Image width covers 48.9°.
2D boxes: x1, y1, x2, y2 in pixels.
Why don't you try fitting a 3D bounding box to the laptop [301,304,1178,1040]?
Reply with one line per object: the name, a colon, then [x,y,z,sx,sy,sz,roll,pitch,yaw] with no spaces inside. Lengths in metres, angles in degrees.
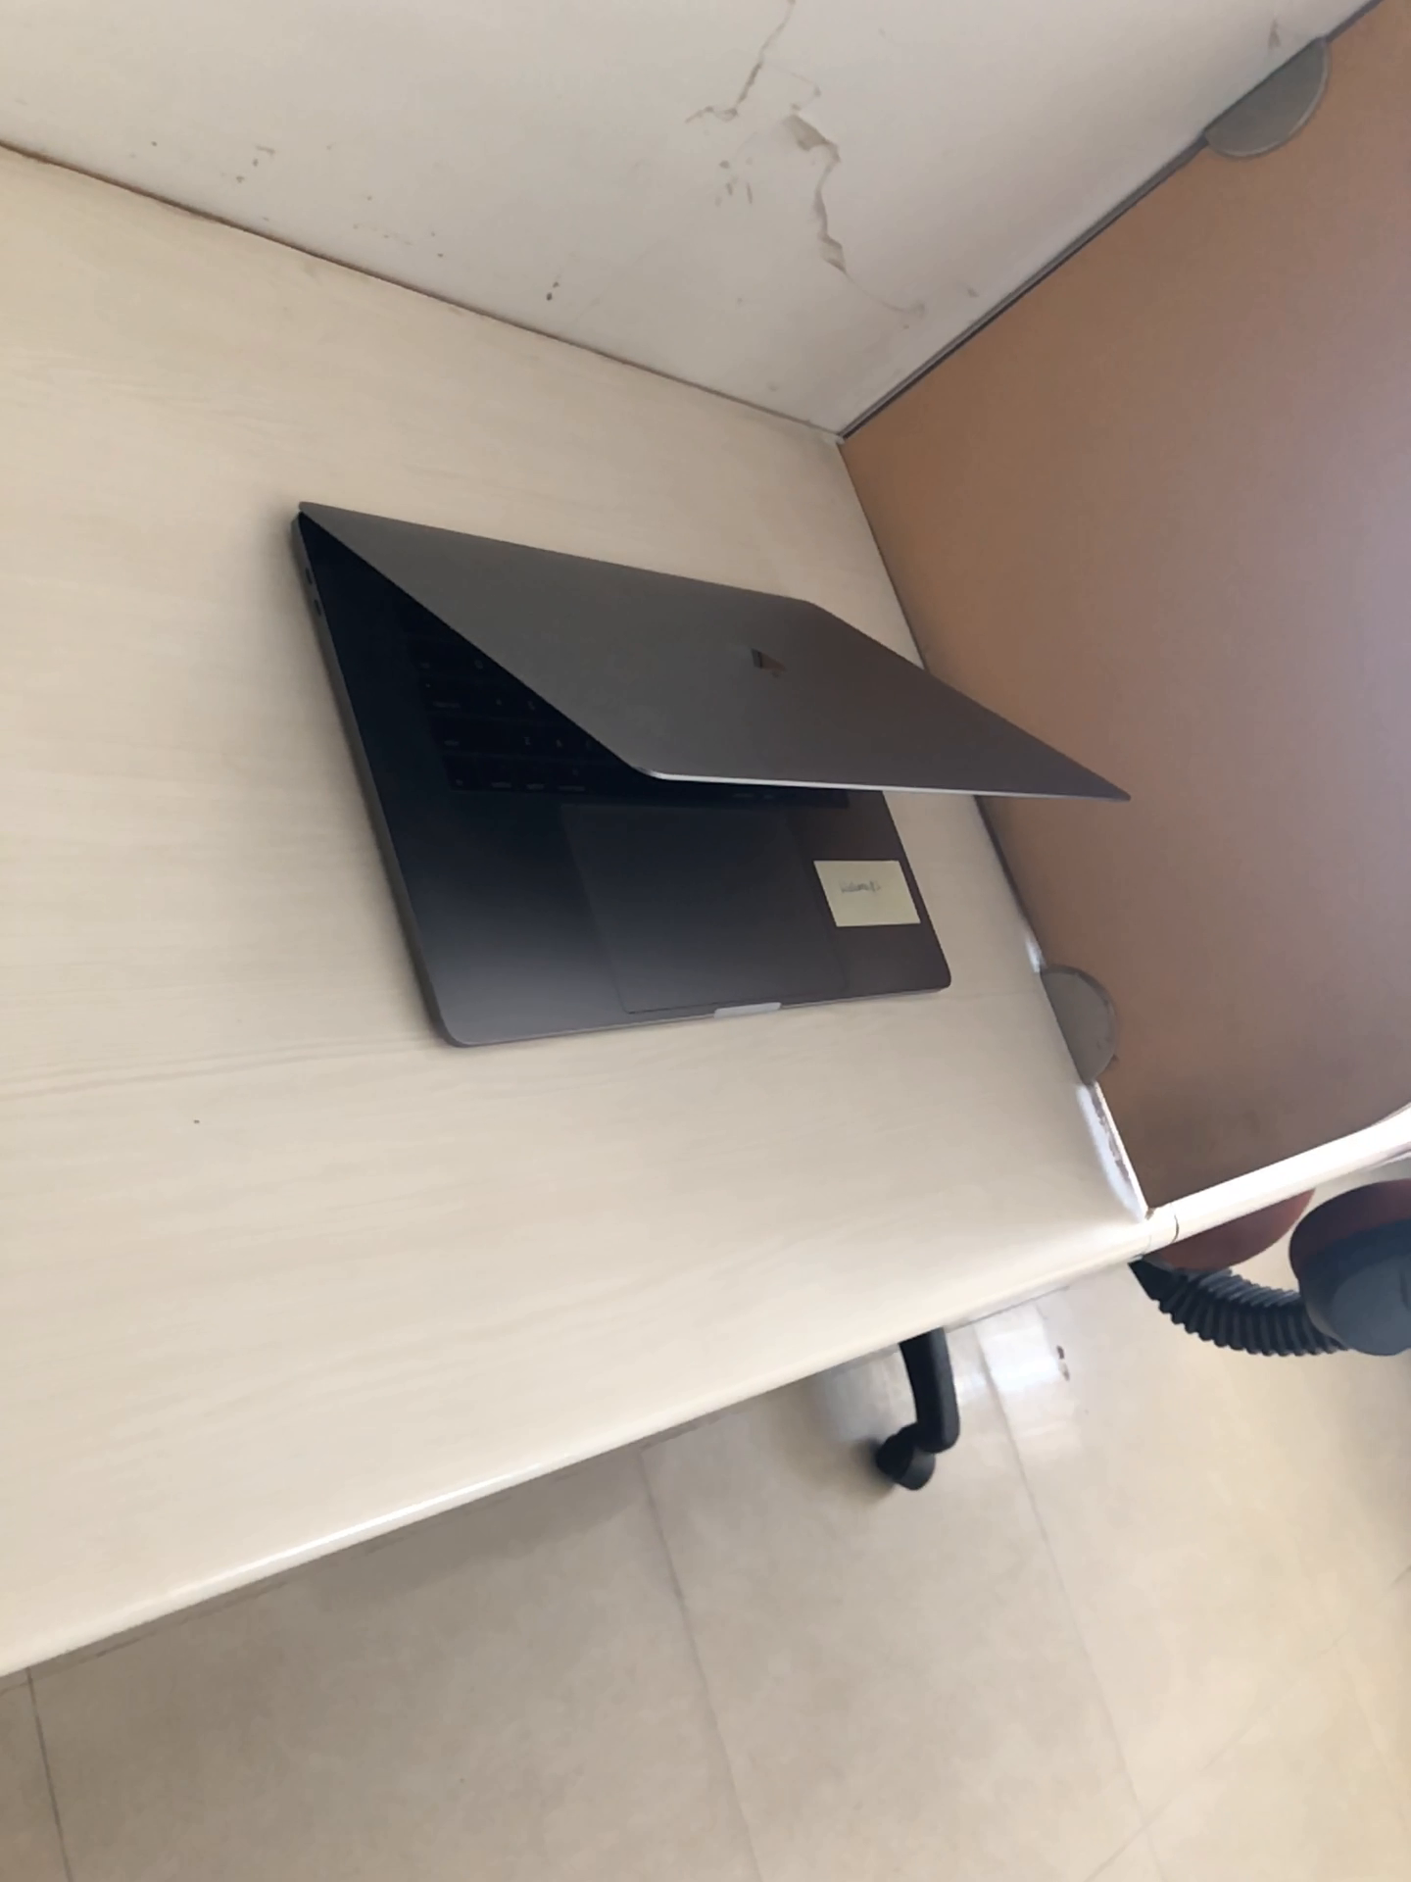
laptop: [0.029,-0.102,0.684,0.331,0.133,0.233,-2,67,-48]
